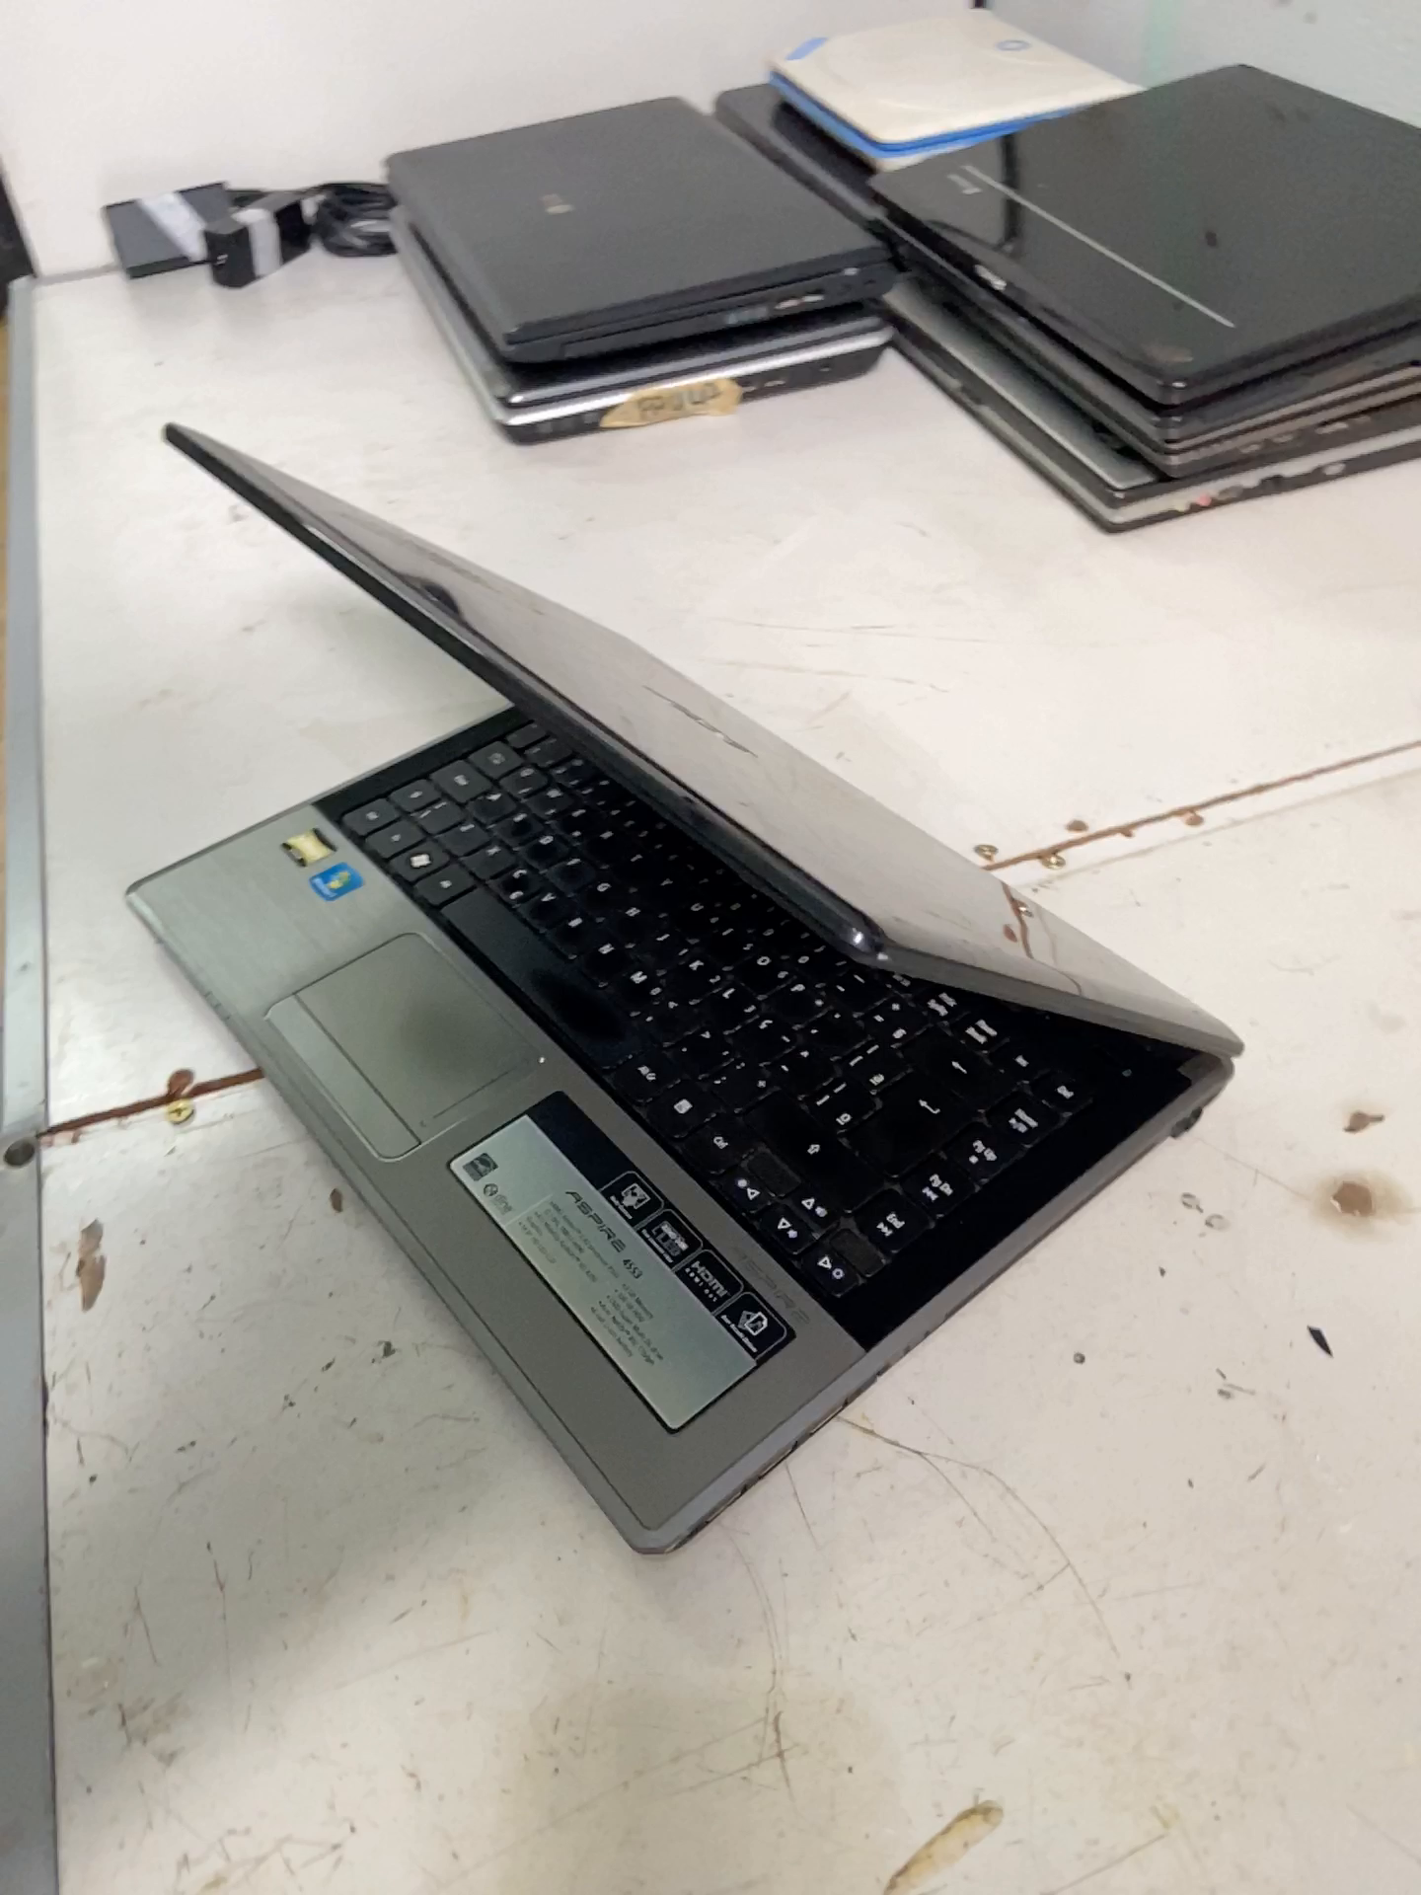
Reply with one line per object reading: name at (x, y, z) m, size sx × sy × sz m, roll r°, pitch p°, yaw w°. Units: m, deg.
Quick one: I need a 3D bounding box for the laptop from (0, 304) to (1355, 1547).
laptop at (-0.035, -0.046, 0.455) m, size 0.226 × 0.157 × 0.335 m, roll -32°, pitch 49°, yaw -25°
